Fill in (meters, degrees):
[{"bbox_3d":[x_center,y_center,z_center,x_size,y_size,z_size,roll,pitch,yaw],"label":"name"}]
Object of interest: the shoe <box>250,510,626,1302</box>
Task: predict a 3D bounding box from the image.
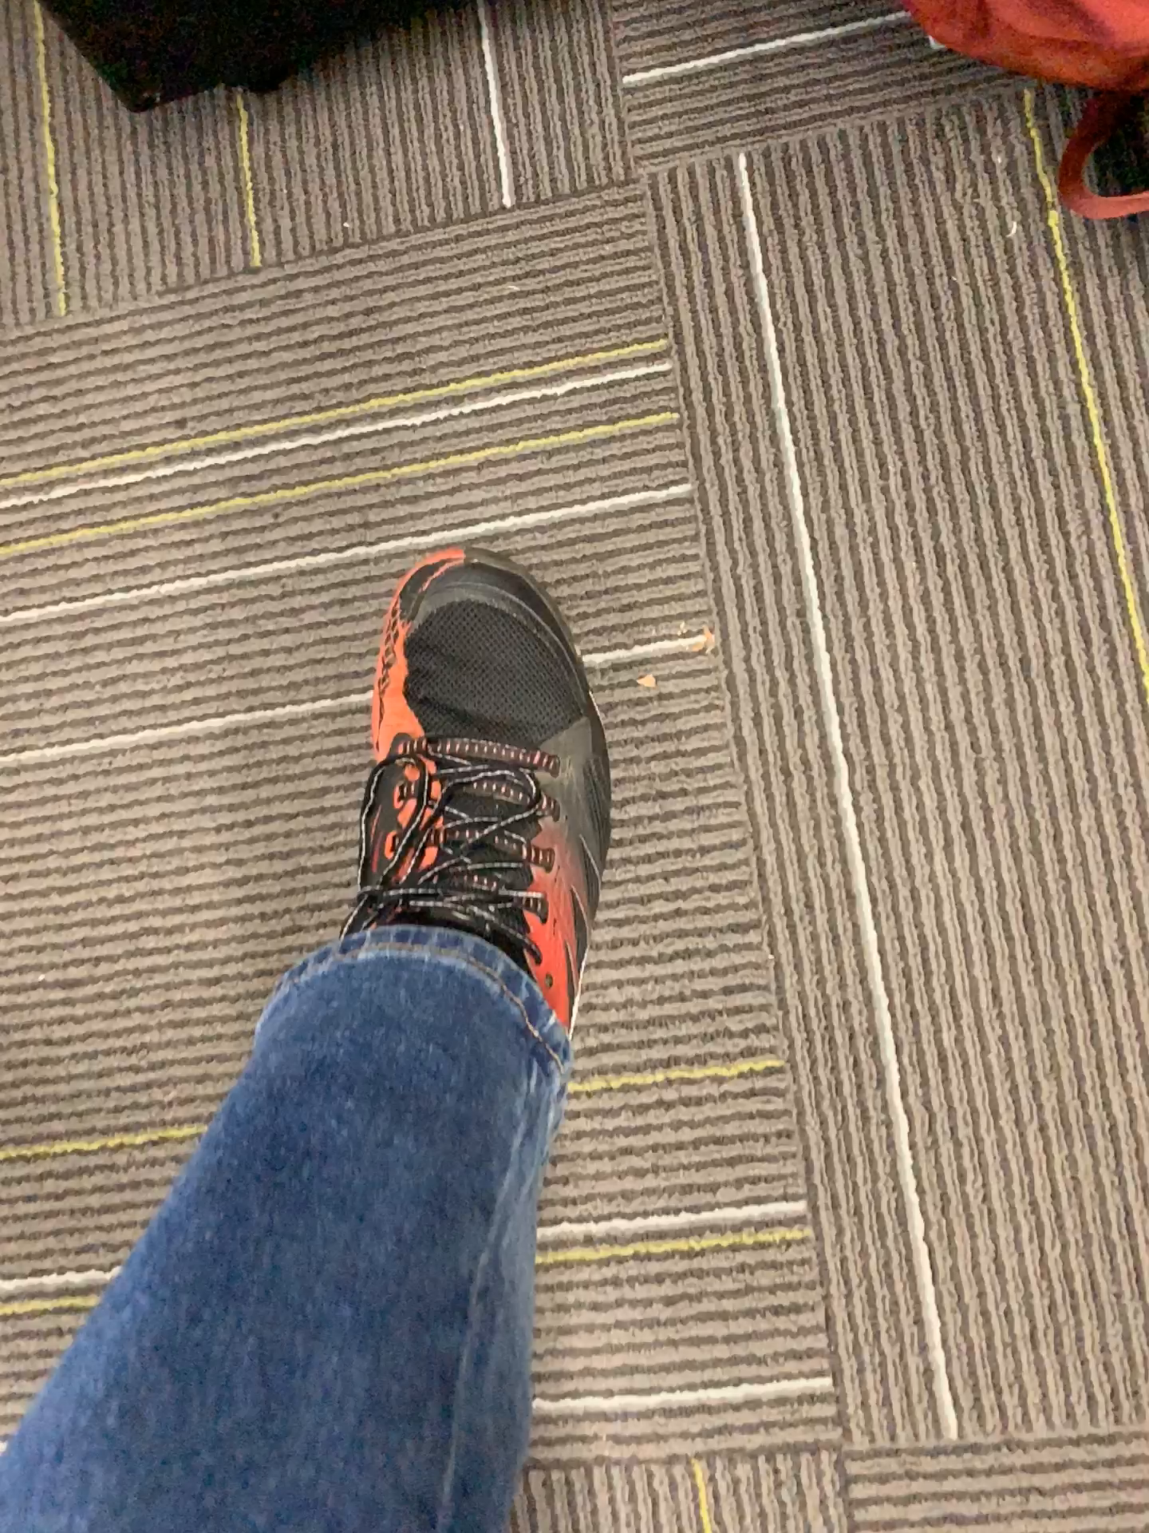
[{"bbox_3d":[-0.054,0.053,0.523,0.130,0.077,0.318,2,84,9],"label":"shoe"}]
